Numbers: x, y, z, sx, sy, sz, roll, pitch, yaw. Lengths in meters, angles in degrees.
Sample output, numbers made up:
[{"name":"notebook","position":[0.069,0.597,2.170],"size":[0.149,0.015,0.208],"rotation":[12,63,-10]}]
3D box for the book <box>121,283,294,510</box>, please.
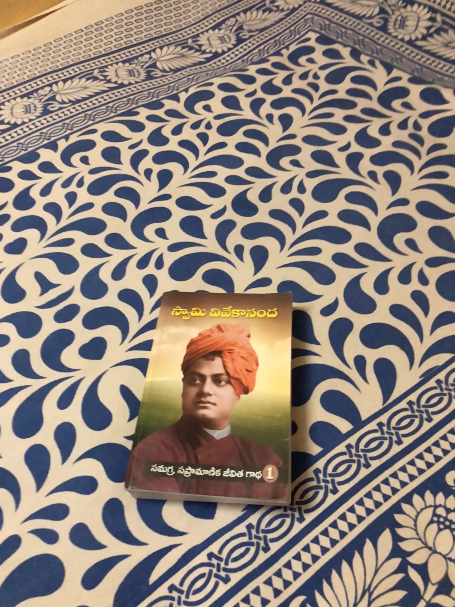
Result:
[{"name":"book","position":[-0.009,0.077,0.476],"size":[0.140,0.030,0.210],"rotation":[2,56,5]}]
